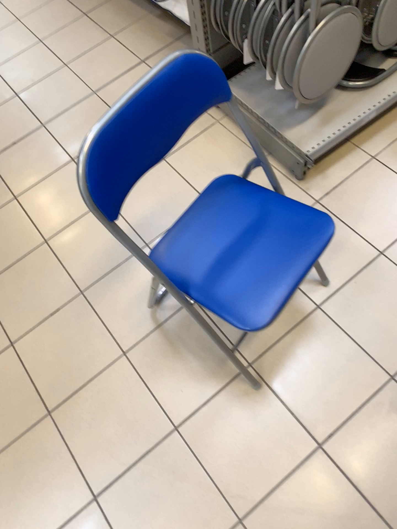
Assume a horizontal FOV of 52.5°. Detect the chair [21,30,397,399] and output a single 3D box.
[{"bbox_3d":[0.061,-0.070,1.027,0.525,0.664,0.479,31,72,22],"label":"chair"}]
